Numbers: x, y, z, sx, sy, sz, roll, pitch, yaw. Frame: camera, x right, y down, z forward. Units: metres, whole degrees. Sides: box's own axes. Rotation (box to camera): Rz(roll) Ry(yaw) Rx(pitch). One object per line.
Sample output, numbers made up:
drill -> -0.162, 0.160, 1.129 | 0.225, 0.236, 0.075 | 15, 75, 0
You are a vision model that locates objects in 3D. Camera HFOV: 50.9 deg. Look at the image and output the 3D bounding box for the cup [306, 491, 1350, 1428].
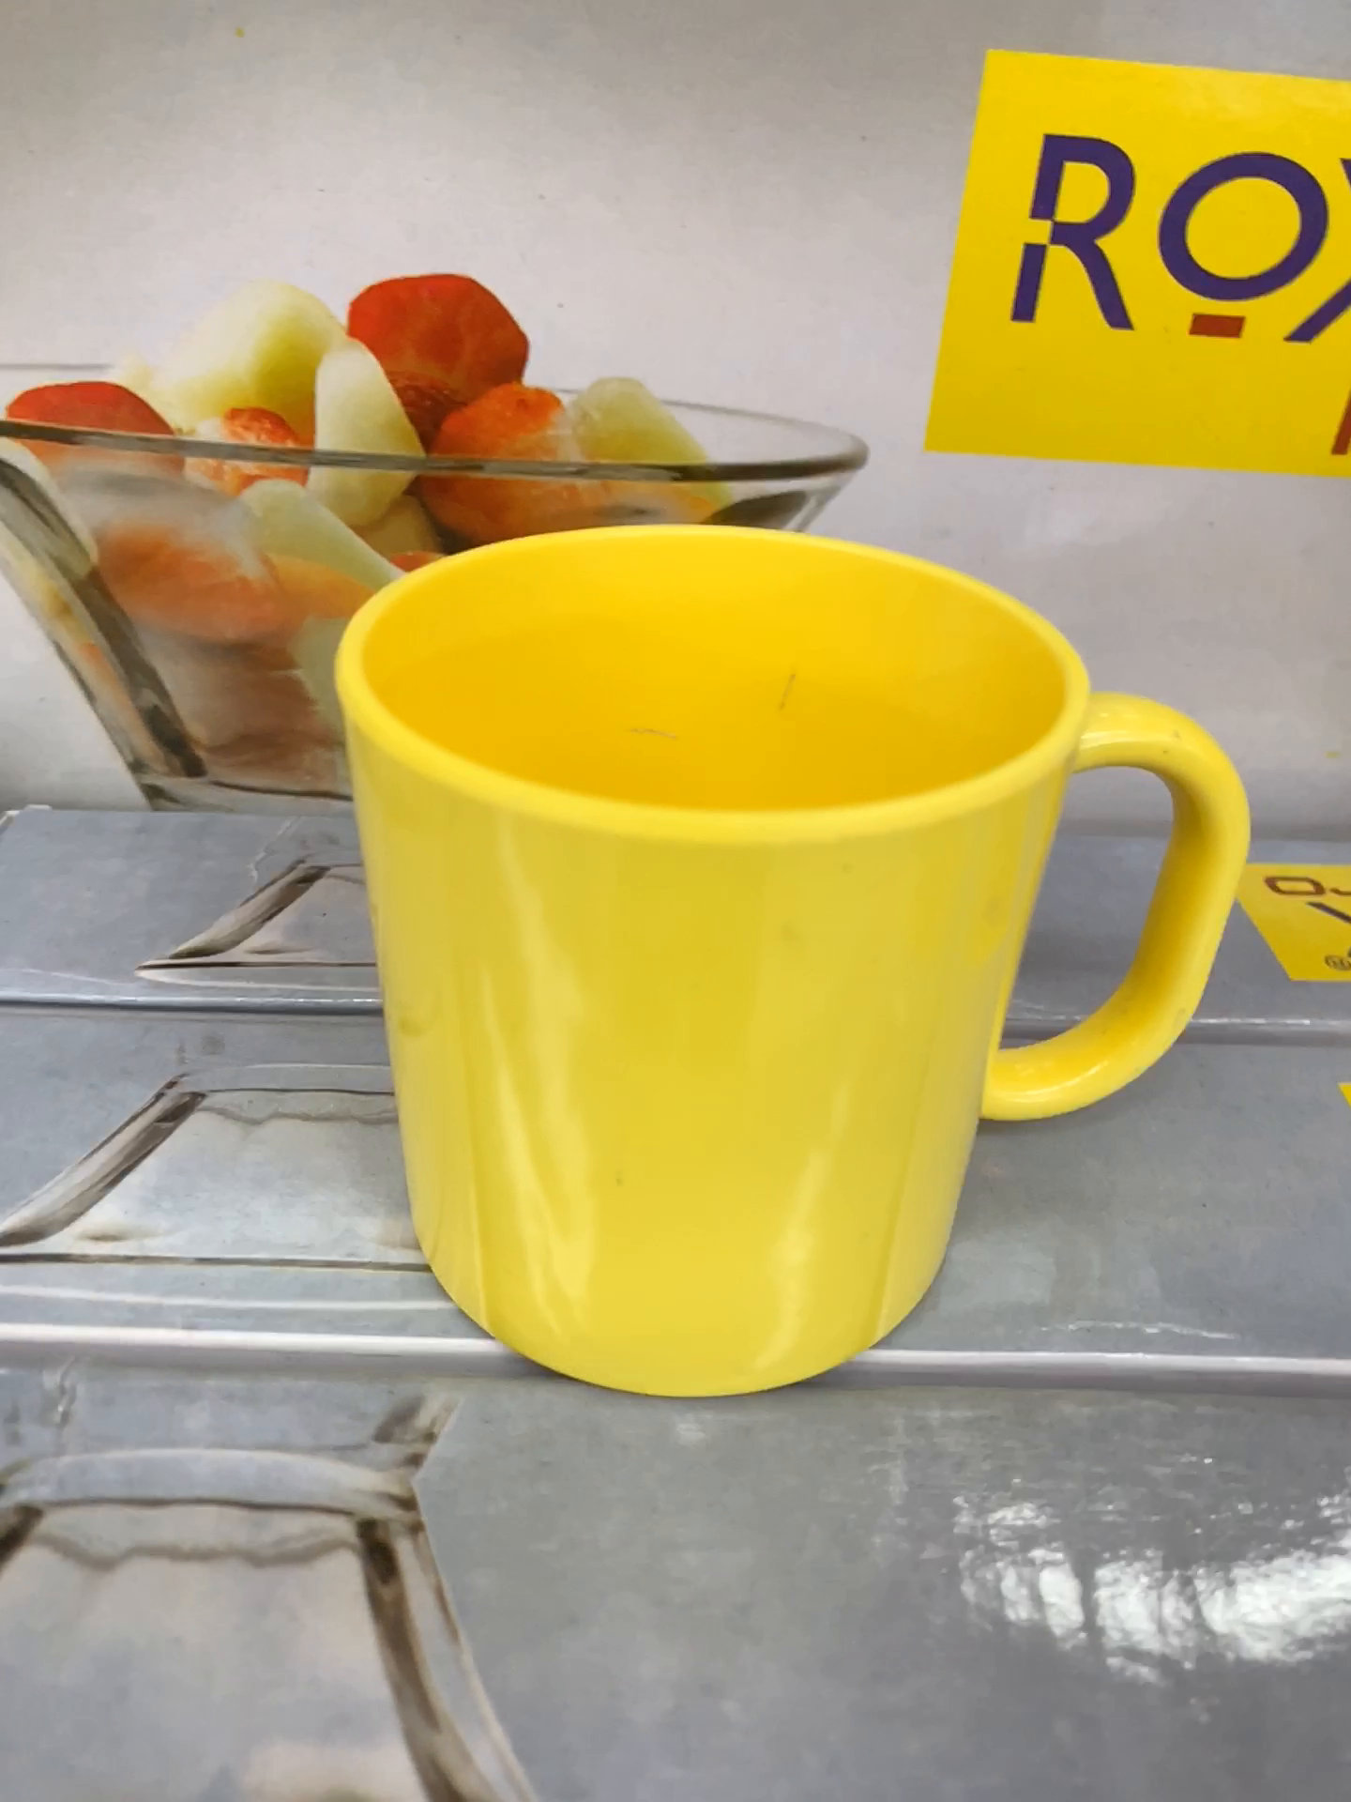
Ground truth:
cup -> 0.016, 0.003, 0.154 | 0.095, 0.069, 0.072 | 1, 32, -6
